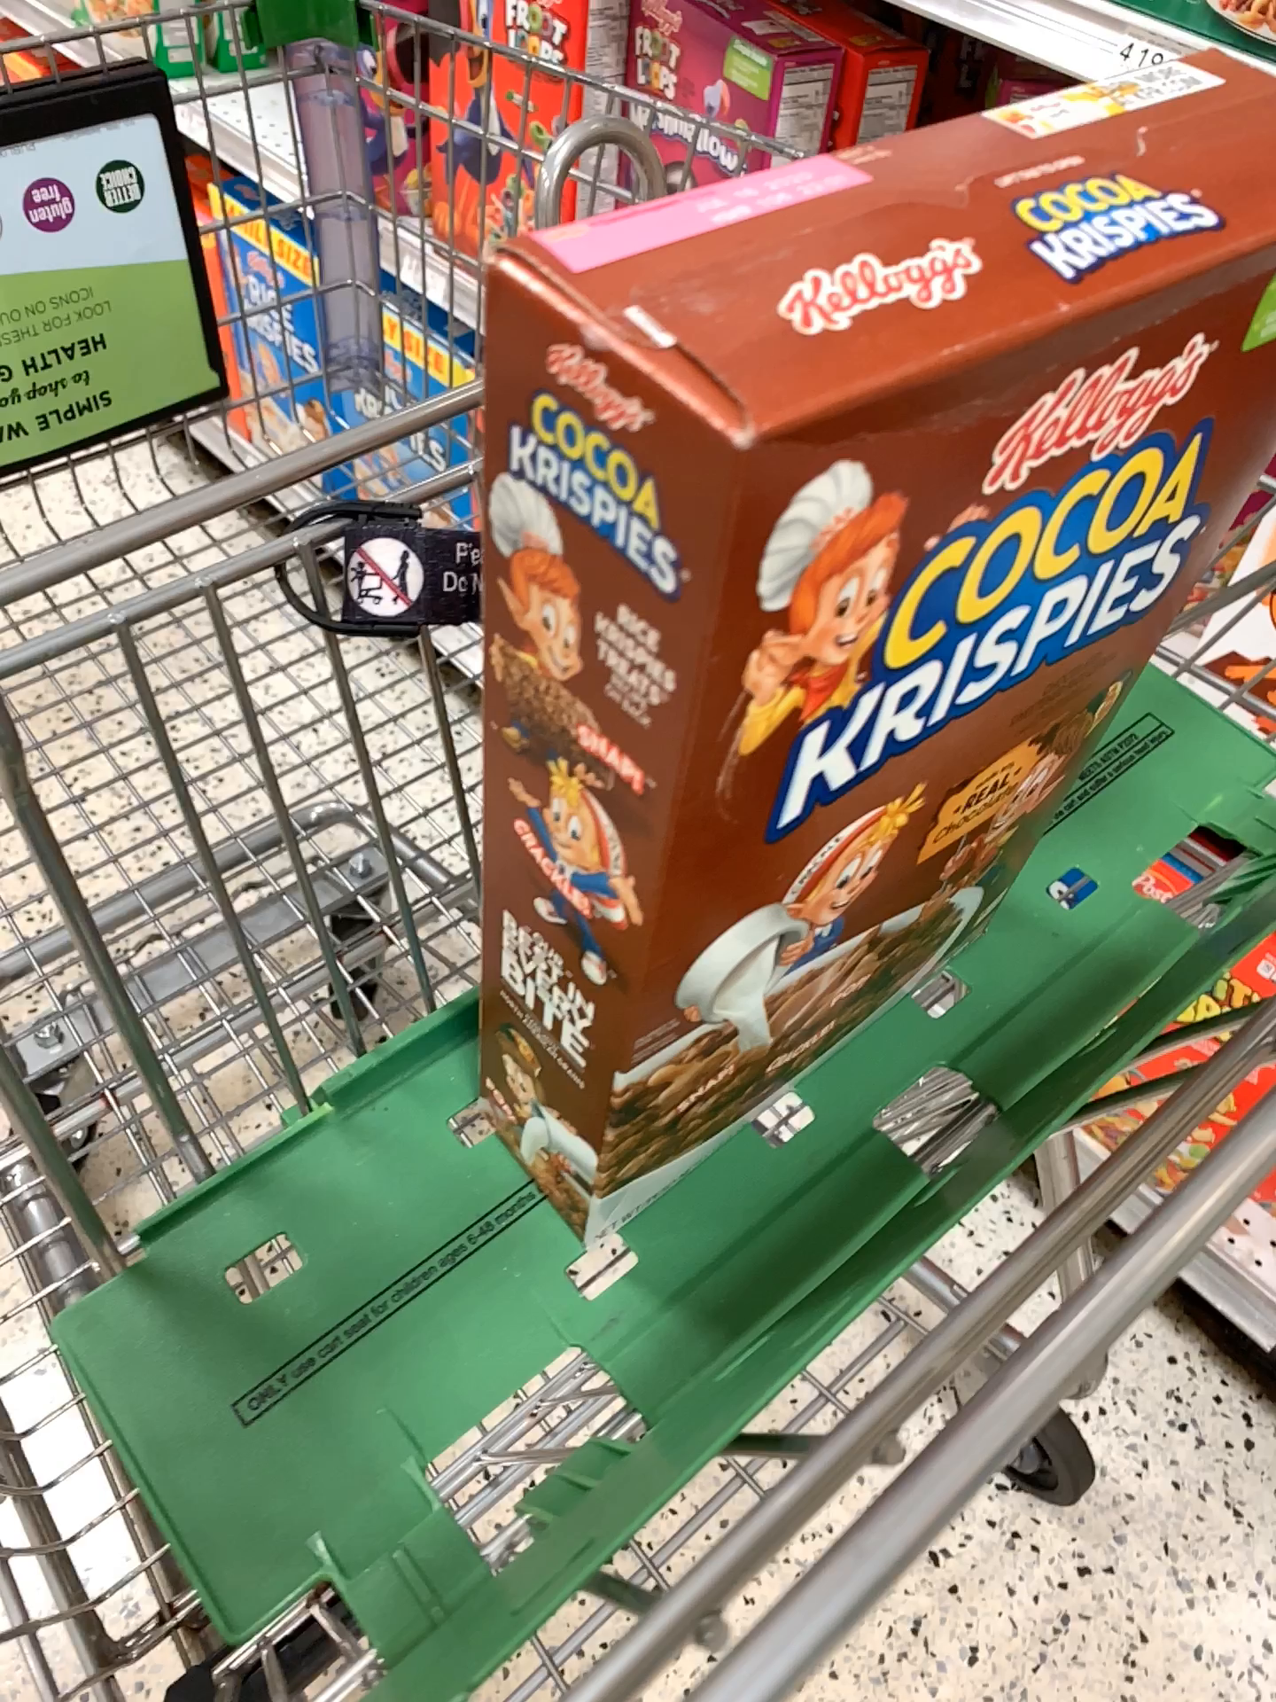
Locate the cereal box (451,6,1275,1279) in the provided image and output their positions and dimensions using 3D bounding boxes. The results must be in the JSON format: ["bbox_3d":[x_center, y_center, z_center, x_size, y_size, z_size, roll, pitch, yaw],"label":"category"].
[{"bbox_3d":[0.052,-0.024,0.345,0.201,0.307,0.060,-30,63,-27],"label":"cereal box"}]
